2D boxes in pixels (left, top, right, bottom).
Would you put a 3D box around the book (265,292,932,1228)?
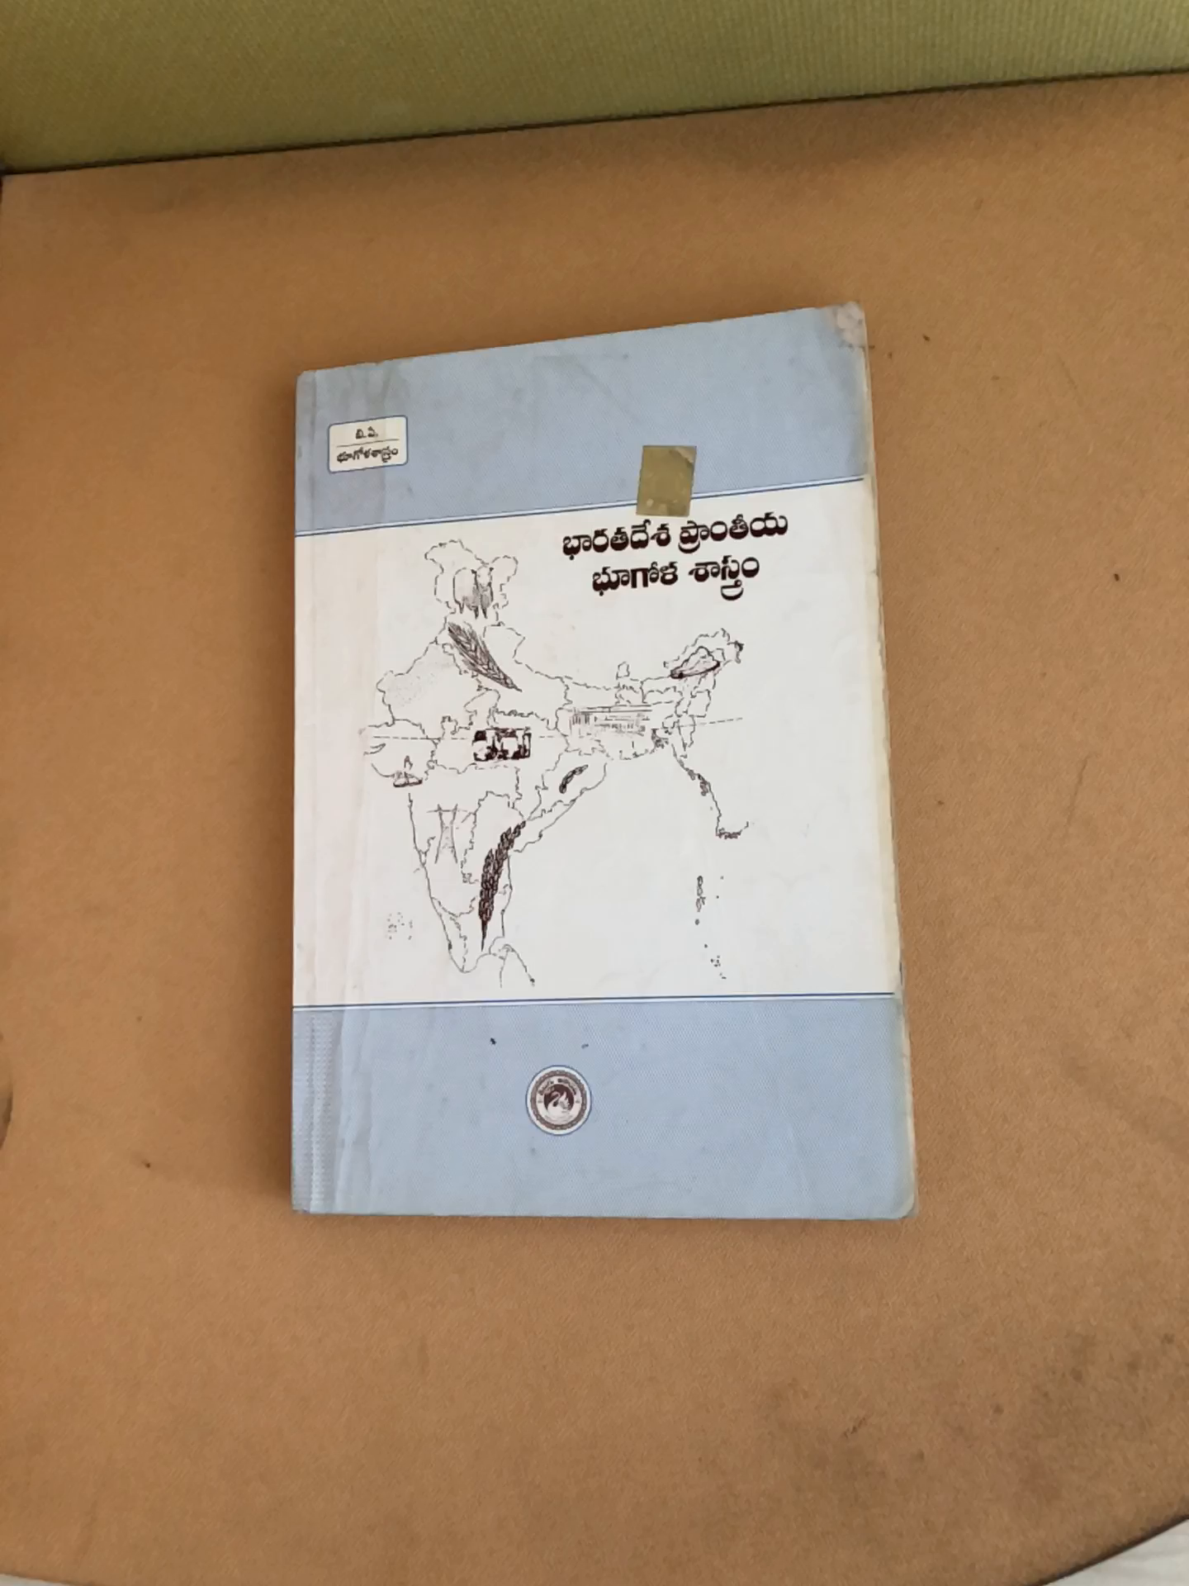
[{"bbox_3d":[-0.003,-0.009,0.380,0.180,0.030,0.250,-3,82,12],"label":"book"}]
